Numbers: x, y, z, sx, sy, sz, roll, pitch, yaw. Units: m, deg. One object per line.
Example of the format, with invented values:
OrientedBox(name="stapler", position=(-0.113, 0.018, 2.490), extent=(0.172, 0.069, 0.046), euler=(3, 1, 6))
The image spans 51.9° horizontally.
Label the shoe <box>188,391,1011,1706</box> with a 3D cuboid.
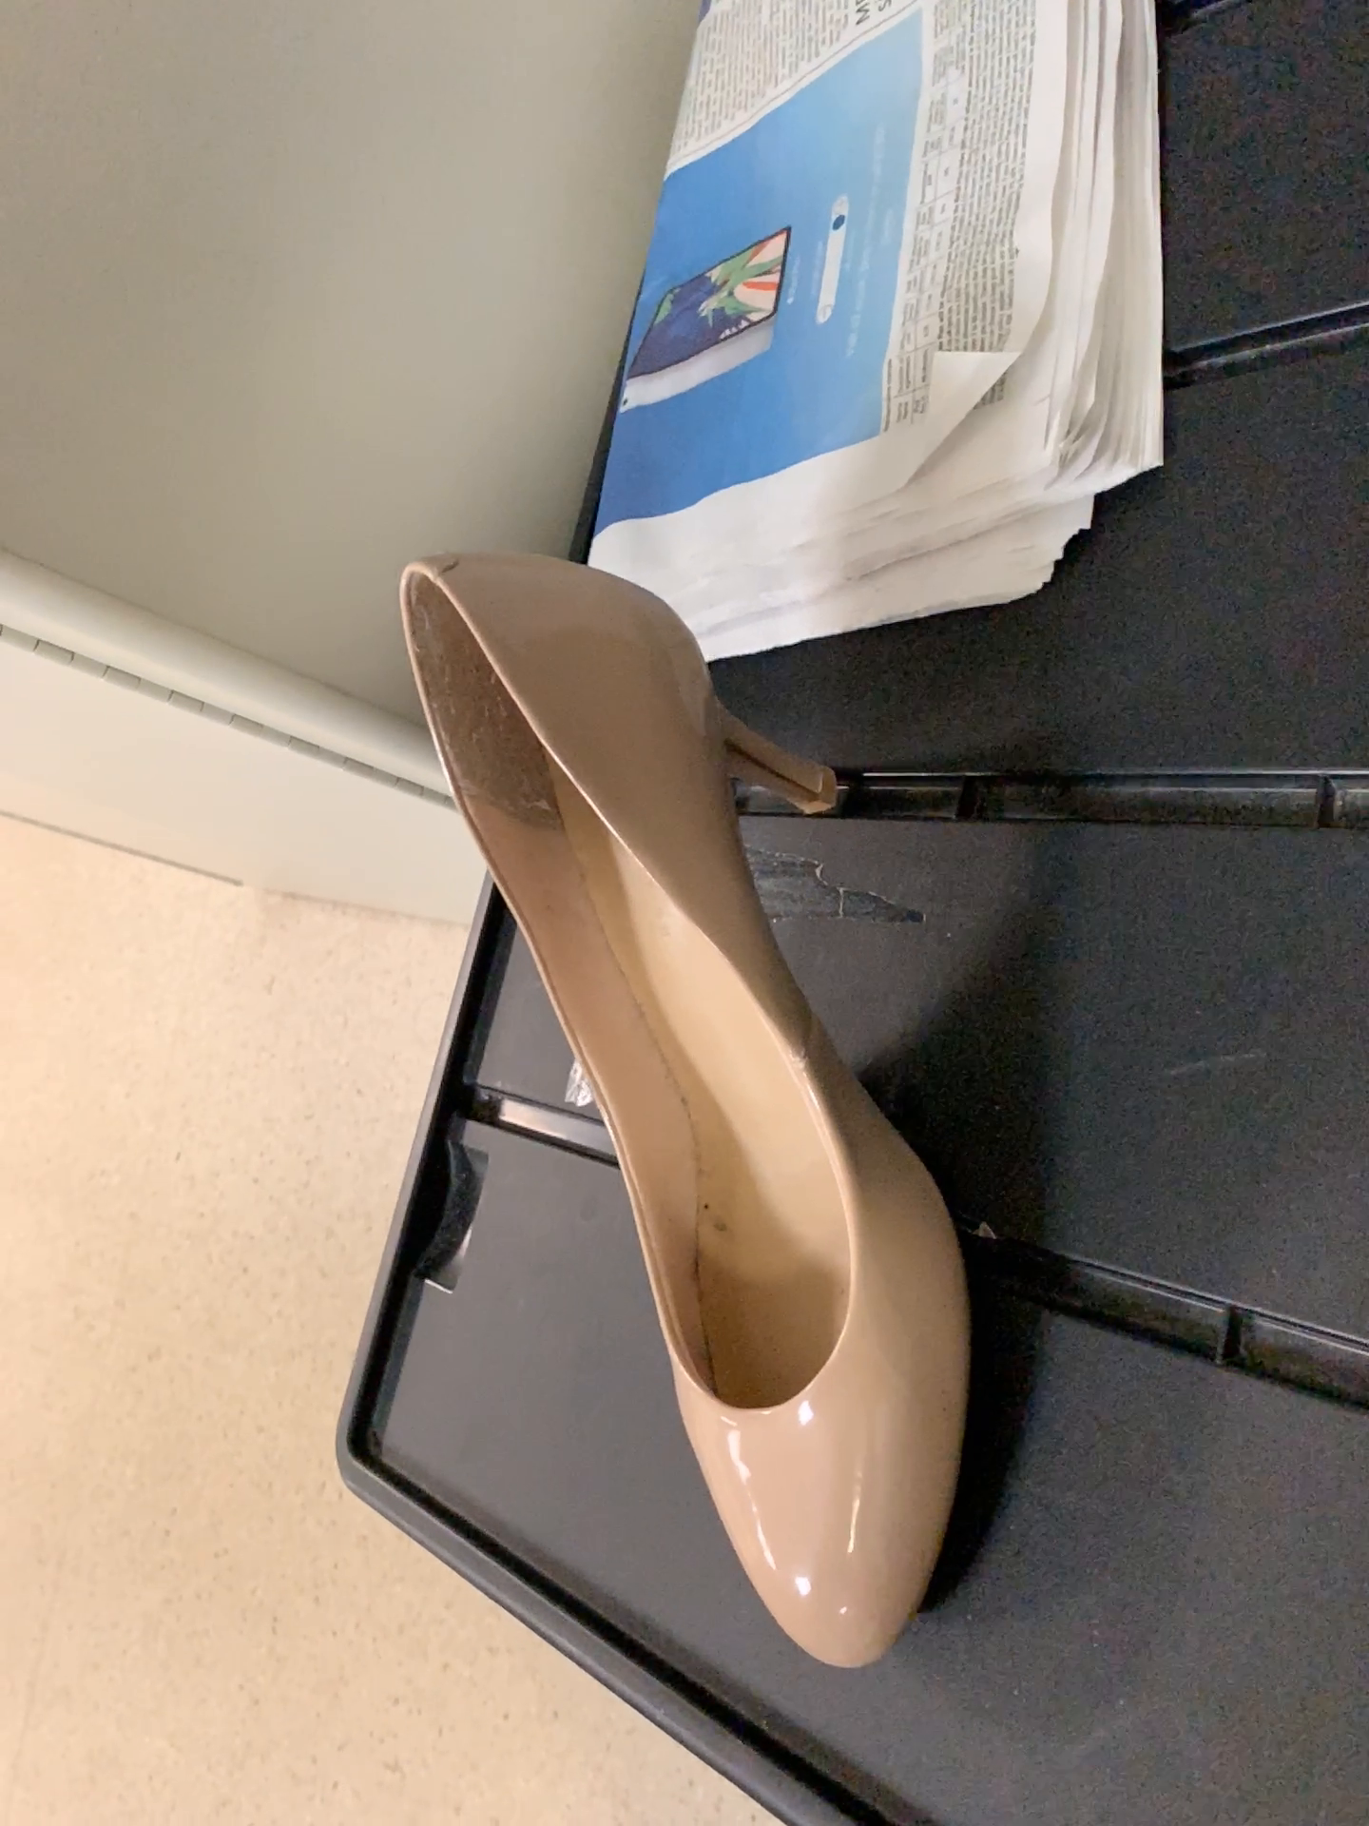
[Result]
OrientedBox(name="shoe", position=(-0.006, 0.034, 0.329), extent=(0.097, 0.140, 0.240), euler=(-15, 63, 43))
